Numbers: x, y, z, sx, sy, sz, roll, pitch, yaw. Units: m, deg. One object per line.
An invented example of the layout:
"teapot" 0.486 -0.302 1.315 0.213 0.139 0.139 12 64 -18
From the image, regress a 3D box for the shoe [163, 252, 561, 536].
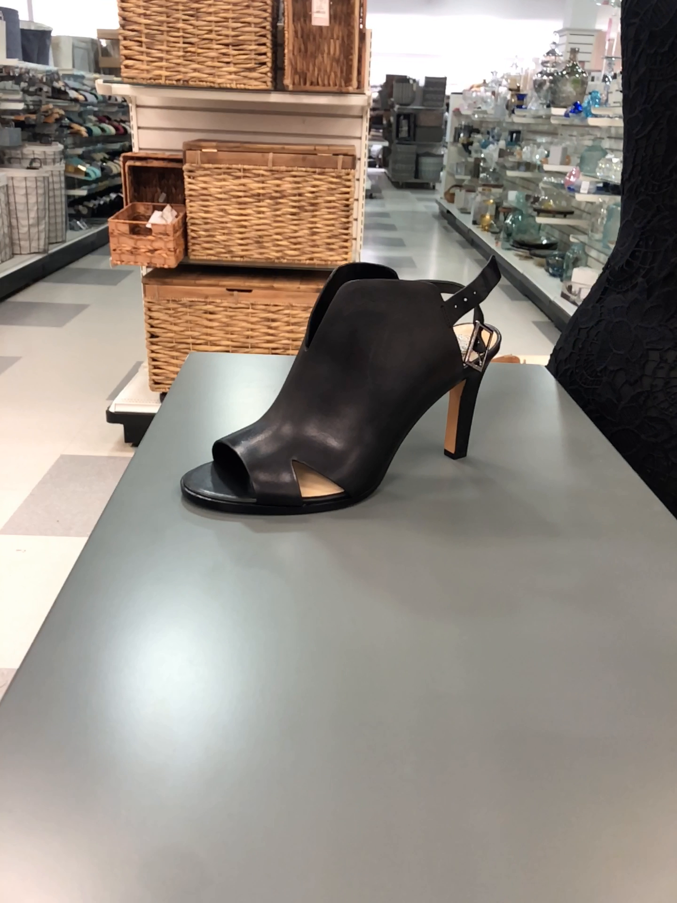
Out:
"shoe" 0.013 -0.049 0.507 0.240 0.152 0.092 -7 25 -20
